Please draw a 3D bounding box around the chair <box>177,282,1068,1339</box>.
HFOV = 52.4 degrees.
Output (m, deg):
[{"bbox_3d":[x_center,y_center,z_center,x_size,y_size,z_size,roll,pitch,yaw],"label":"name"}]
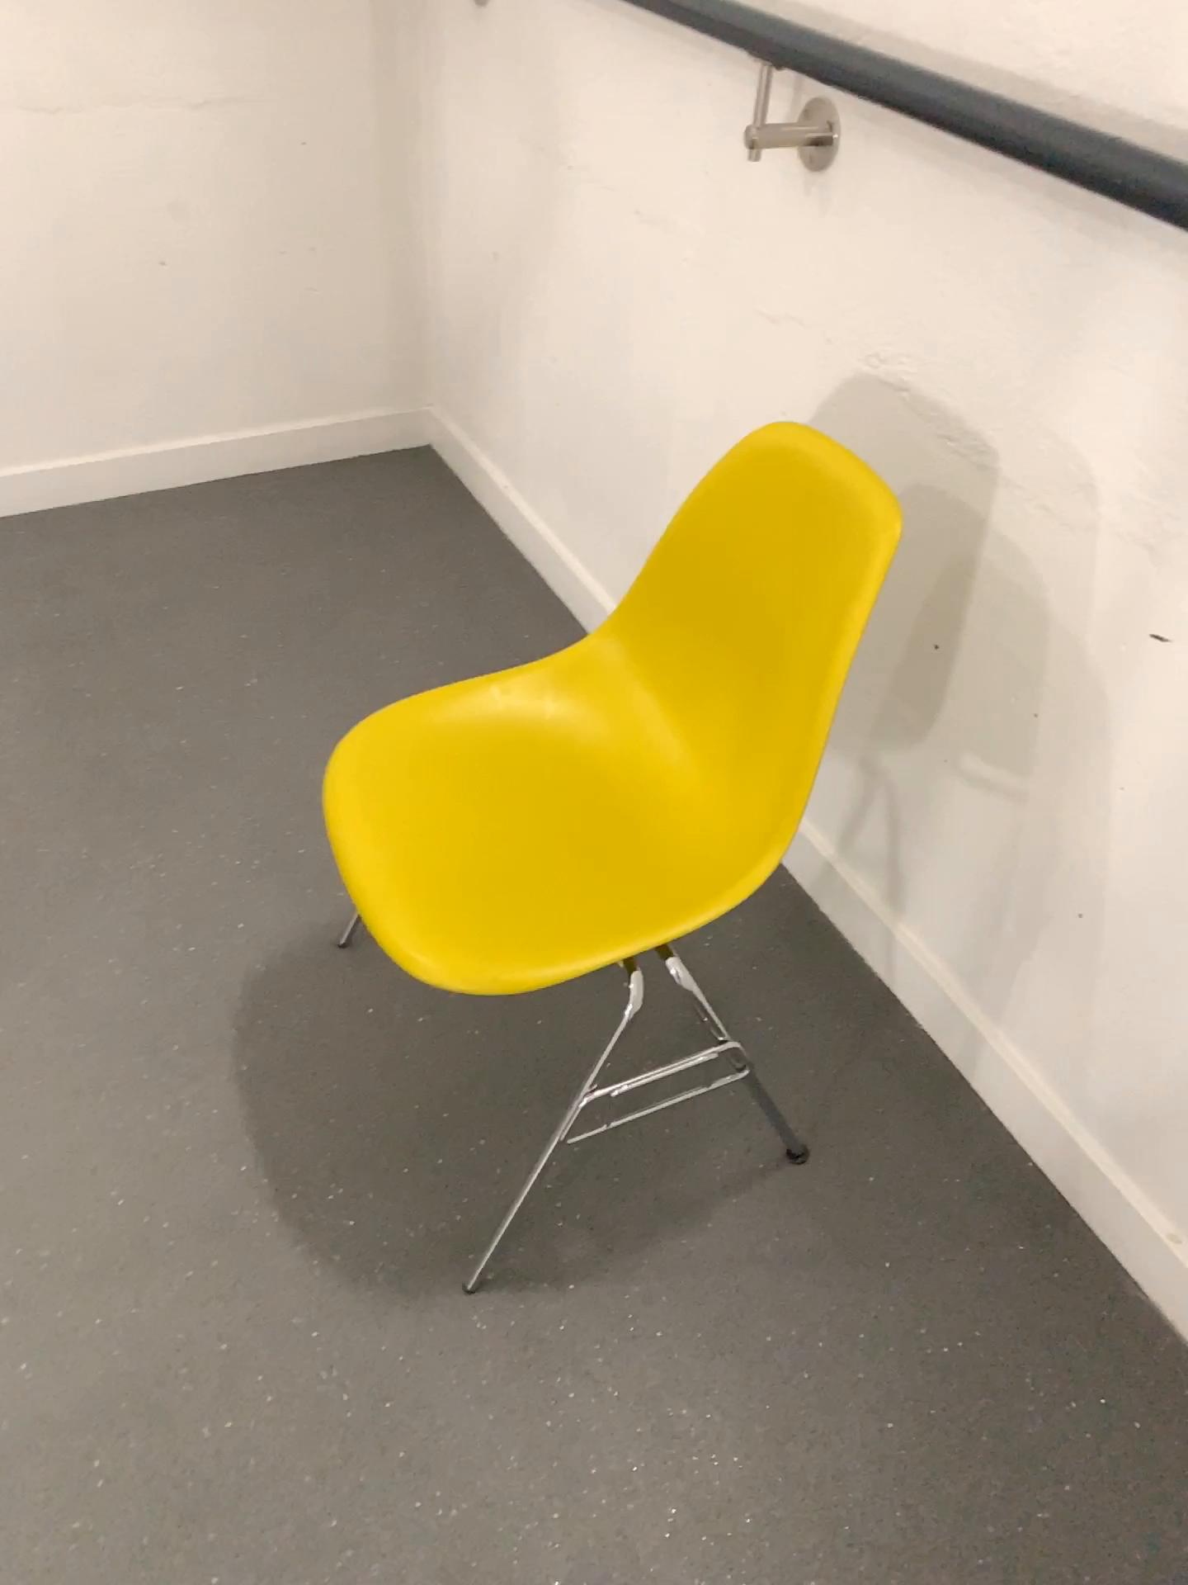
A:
[{"bbox_3d":[-0.041,0.001,1.307,0.541,0.822,0.635,-16,45,-22],"label":"chair"}]
